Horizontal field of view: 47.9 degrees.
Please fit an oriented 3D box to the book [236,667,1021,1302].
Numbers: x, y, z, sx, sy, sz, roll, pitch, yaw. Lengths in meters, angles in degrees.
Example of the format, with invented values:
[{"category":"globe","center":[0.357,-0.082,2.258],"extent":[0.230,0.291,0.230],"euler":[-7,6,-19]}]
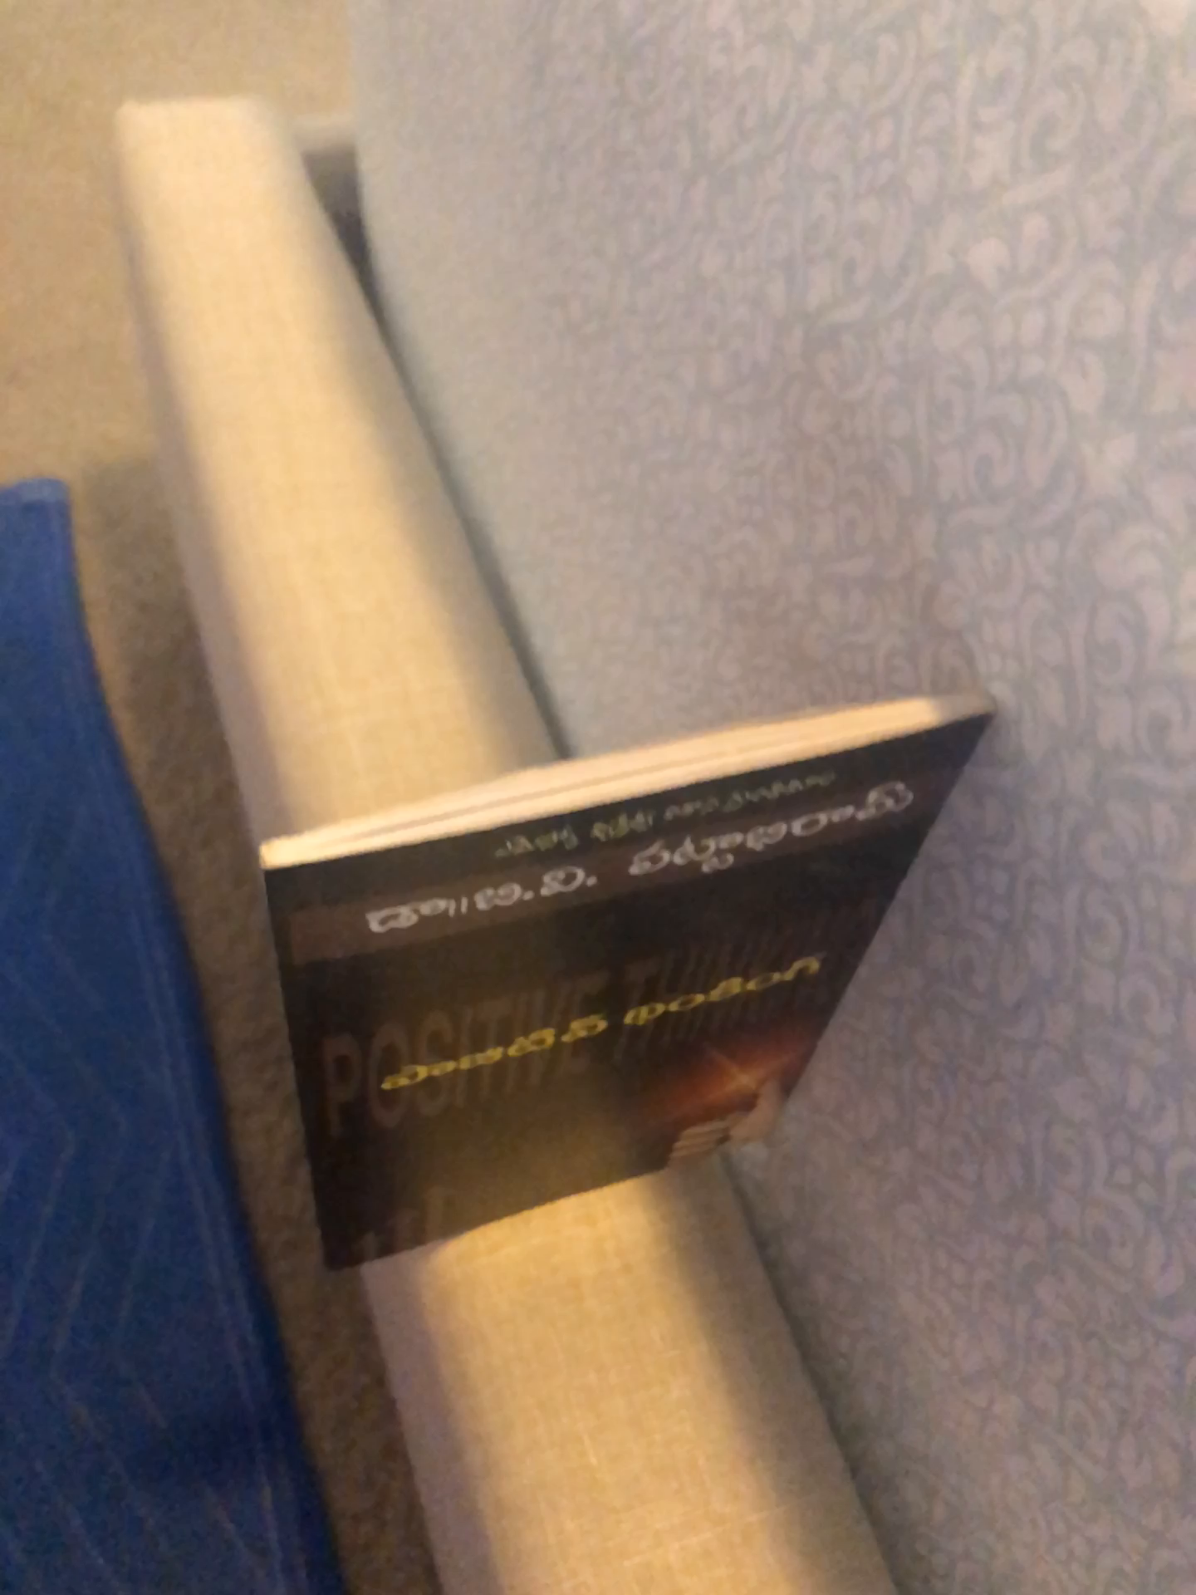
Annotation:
[{"category":"book","center":[-0.002,0.049,0.275],"extent":[0.127,0.174,0.011],"euler":[-13,56,-19]}]
